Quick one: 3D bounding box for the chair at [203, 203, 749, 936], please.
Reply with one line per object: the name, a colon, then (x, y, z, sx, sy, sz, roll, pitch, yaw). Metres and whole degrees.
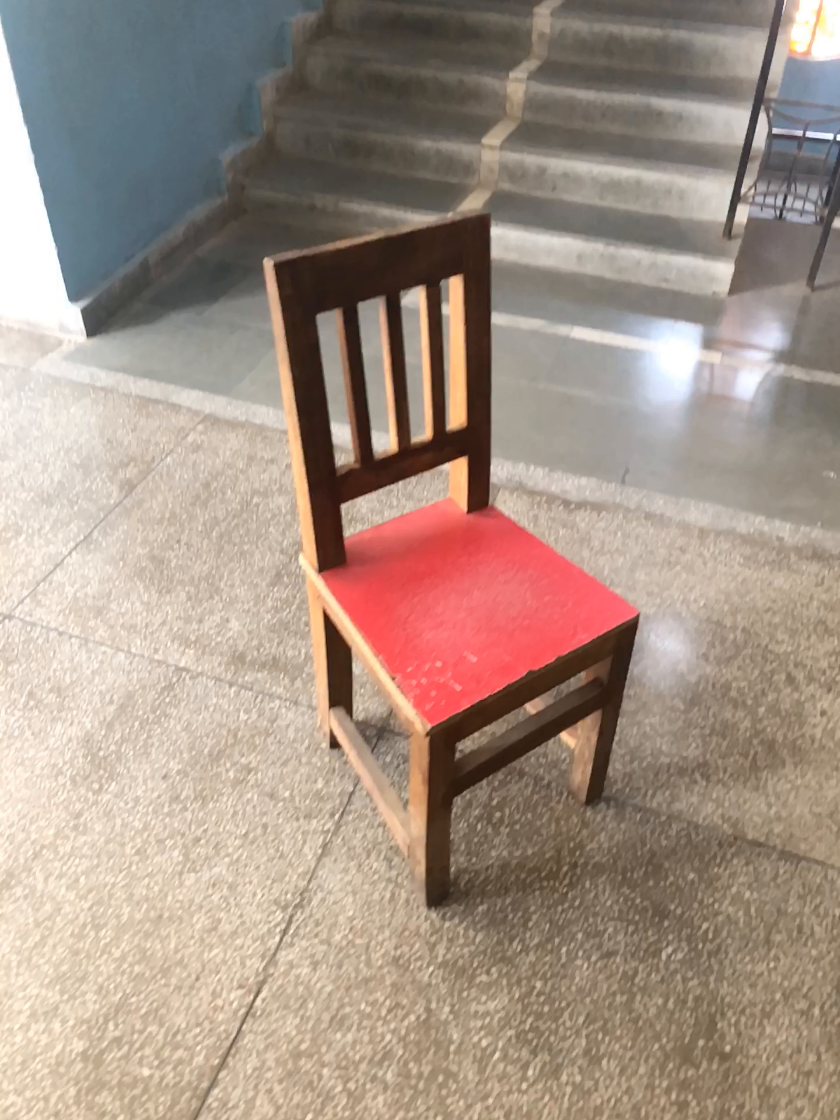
chair: (0.031, 0.019, 1.297, 0.400, 0.817, 0.481, -24, 46, -29)
